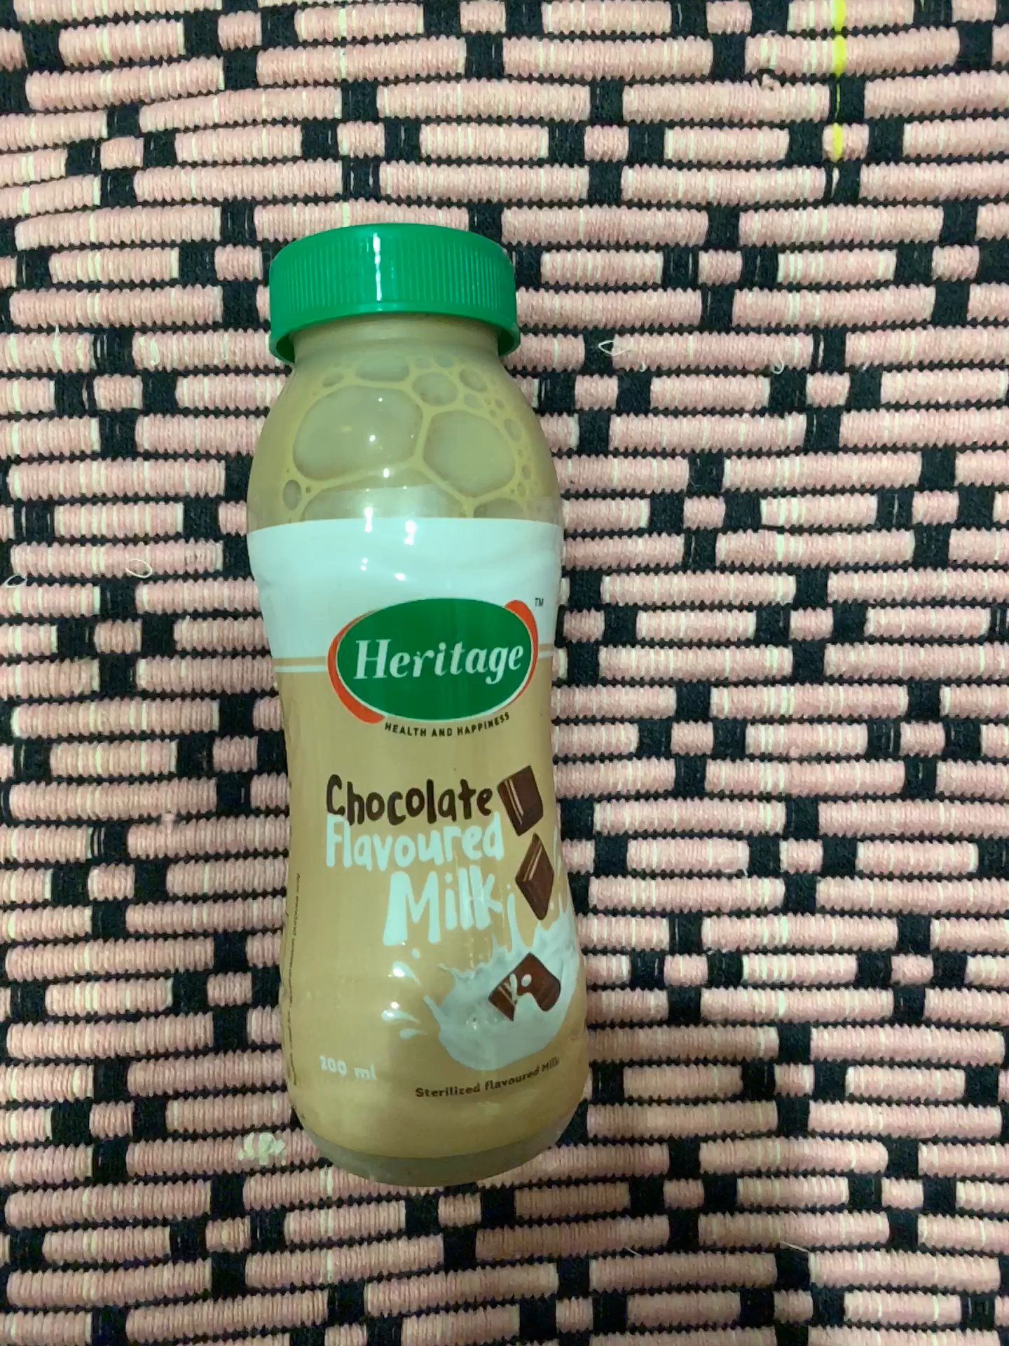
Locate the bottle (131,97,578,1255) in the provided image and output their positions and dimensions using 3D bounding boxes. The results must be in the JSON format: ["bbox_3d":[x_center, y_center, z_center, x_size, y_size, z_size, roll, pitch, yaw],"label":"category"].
[{"bbox_3d":[-0.024,-0.001,0.157,0.050,0.050,0.140,-2,88,-13],"label":"bottle"}]
